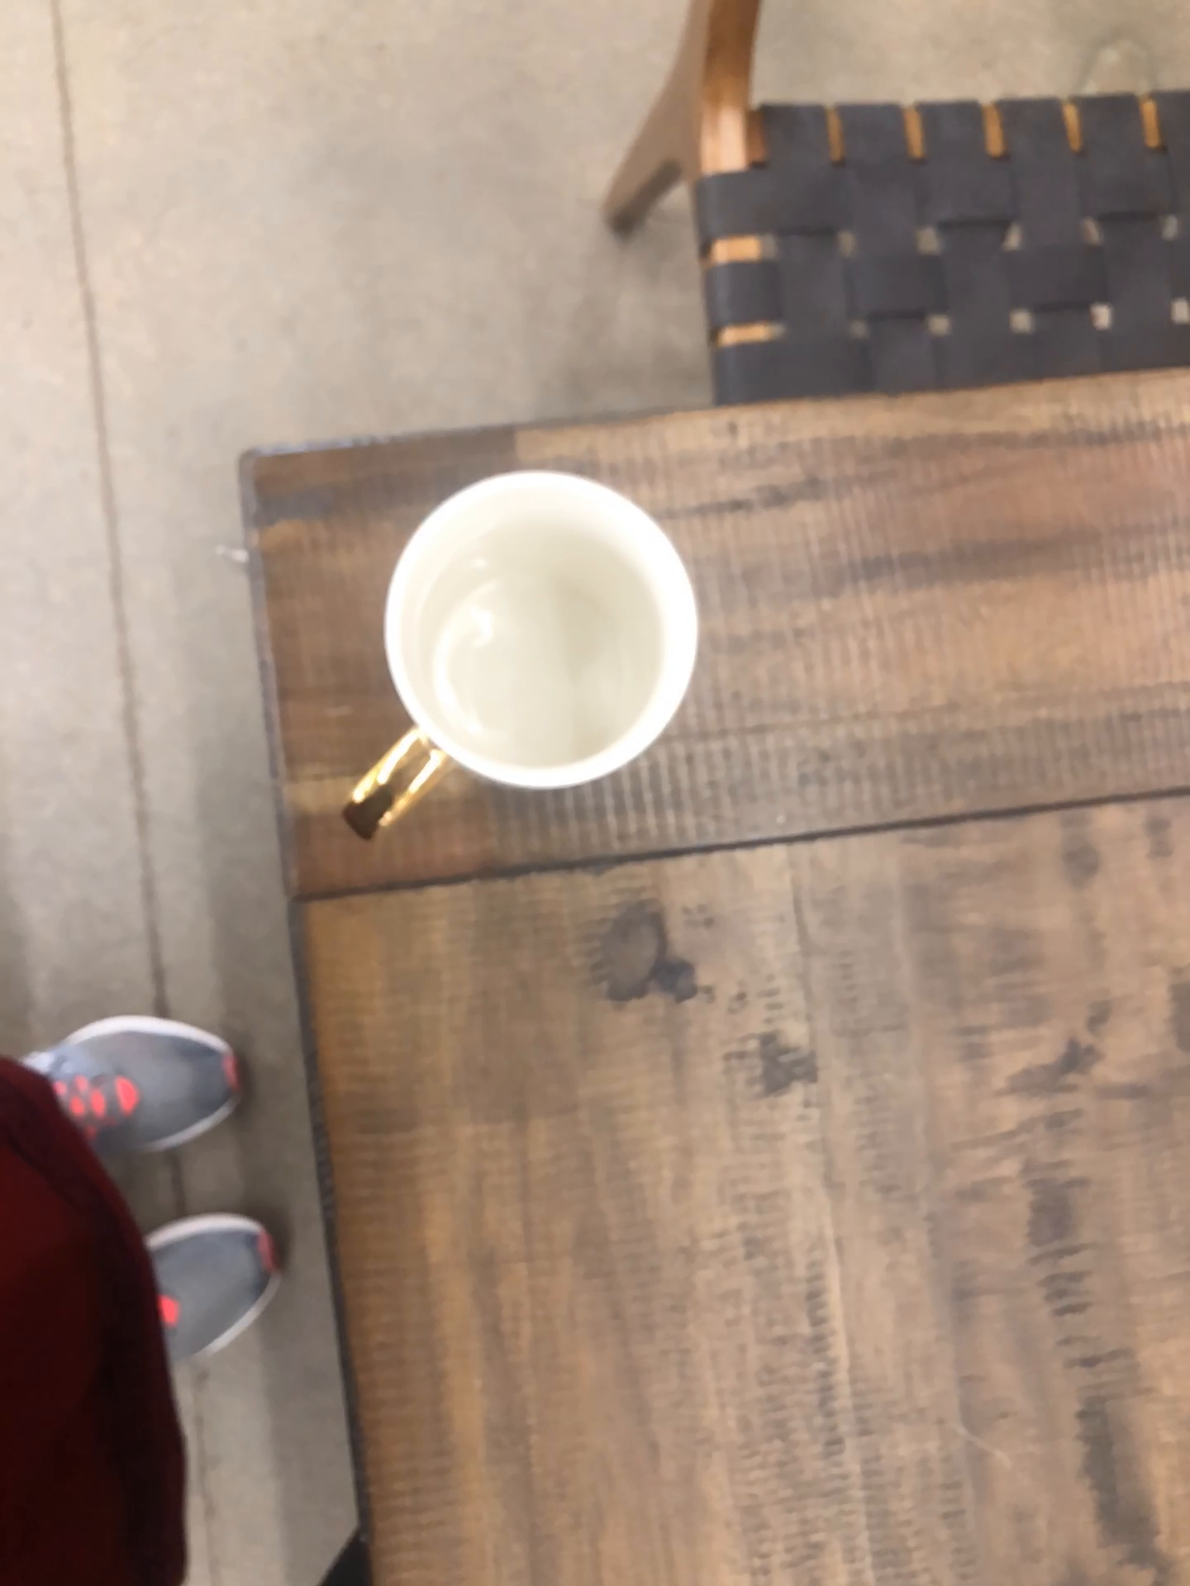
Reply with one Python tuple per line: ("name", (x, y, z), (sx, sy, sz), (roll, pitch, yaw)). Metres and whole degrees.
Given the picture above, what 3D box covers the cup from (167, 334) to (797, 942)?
("cup", (-0.031, -0.038, 0.385), (0.119, 0.116, 0.097), (-38, 93, -4))
